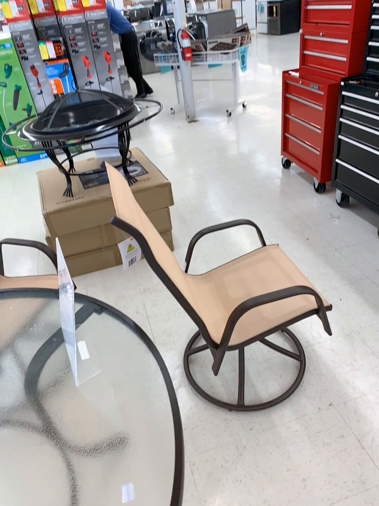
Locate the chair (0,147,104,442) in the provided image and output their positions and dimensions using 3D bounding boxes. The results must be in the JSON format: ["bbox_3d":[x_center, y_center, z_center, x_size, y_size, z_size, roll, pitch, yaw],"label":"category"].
[{"bbox_3d":[-0.921,0.137,1.623,0.708,0.956,0.570,10,37,25],"label":"chair"}]

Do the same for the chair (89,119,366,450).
[{"bbox_3d":[0.115,0.105,1.478,0.707,0.956,0.571,-15,34,-10],"label":"chair"}]
